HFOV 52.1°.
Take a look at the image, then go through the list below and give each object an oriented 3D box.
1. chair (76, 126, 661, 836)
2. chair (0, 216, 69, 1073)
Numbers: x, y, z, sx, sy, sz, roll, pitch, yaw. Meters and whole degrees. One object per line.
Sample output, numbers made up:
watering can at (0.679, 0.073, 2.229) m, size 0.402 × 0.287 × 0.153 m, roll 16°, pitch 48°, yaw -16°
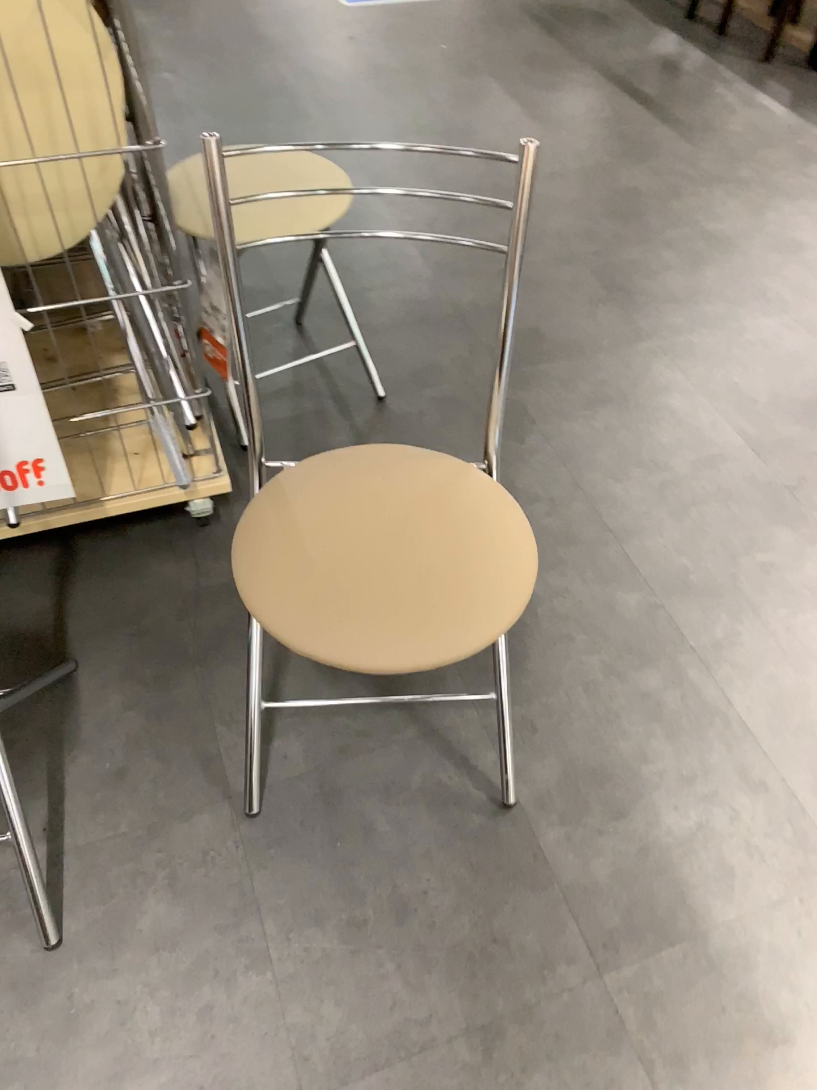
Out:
chair at (-0.055, -0.029, 1.090) m, size 0.440 × 0.796 × 0.492 m, roll -2°, pitch 50°, yaw -4°
chair at (-0.756, 0.156, 0.919) m, size 0.520 × 0.776 × 0.492 m, roll -11°, pitch 51°, yaw -11°
